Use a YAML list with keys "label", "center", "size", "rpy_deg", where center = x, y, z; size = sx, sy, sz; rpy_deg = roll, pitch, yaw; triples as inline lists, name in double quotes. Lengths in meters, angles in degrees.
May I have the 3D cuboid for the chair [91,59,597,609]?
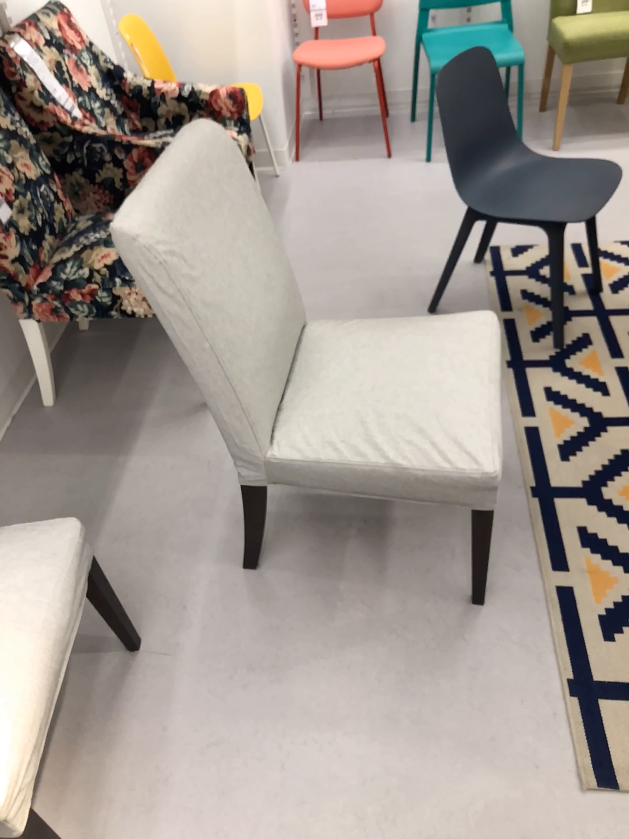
- label: "chair"
  center: [0.103, -0.134, 1.361]
  size: [0.640, 0.854, 0.563]
  rpy_deg: [2, 44, 11]
